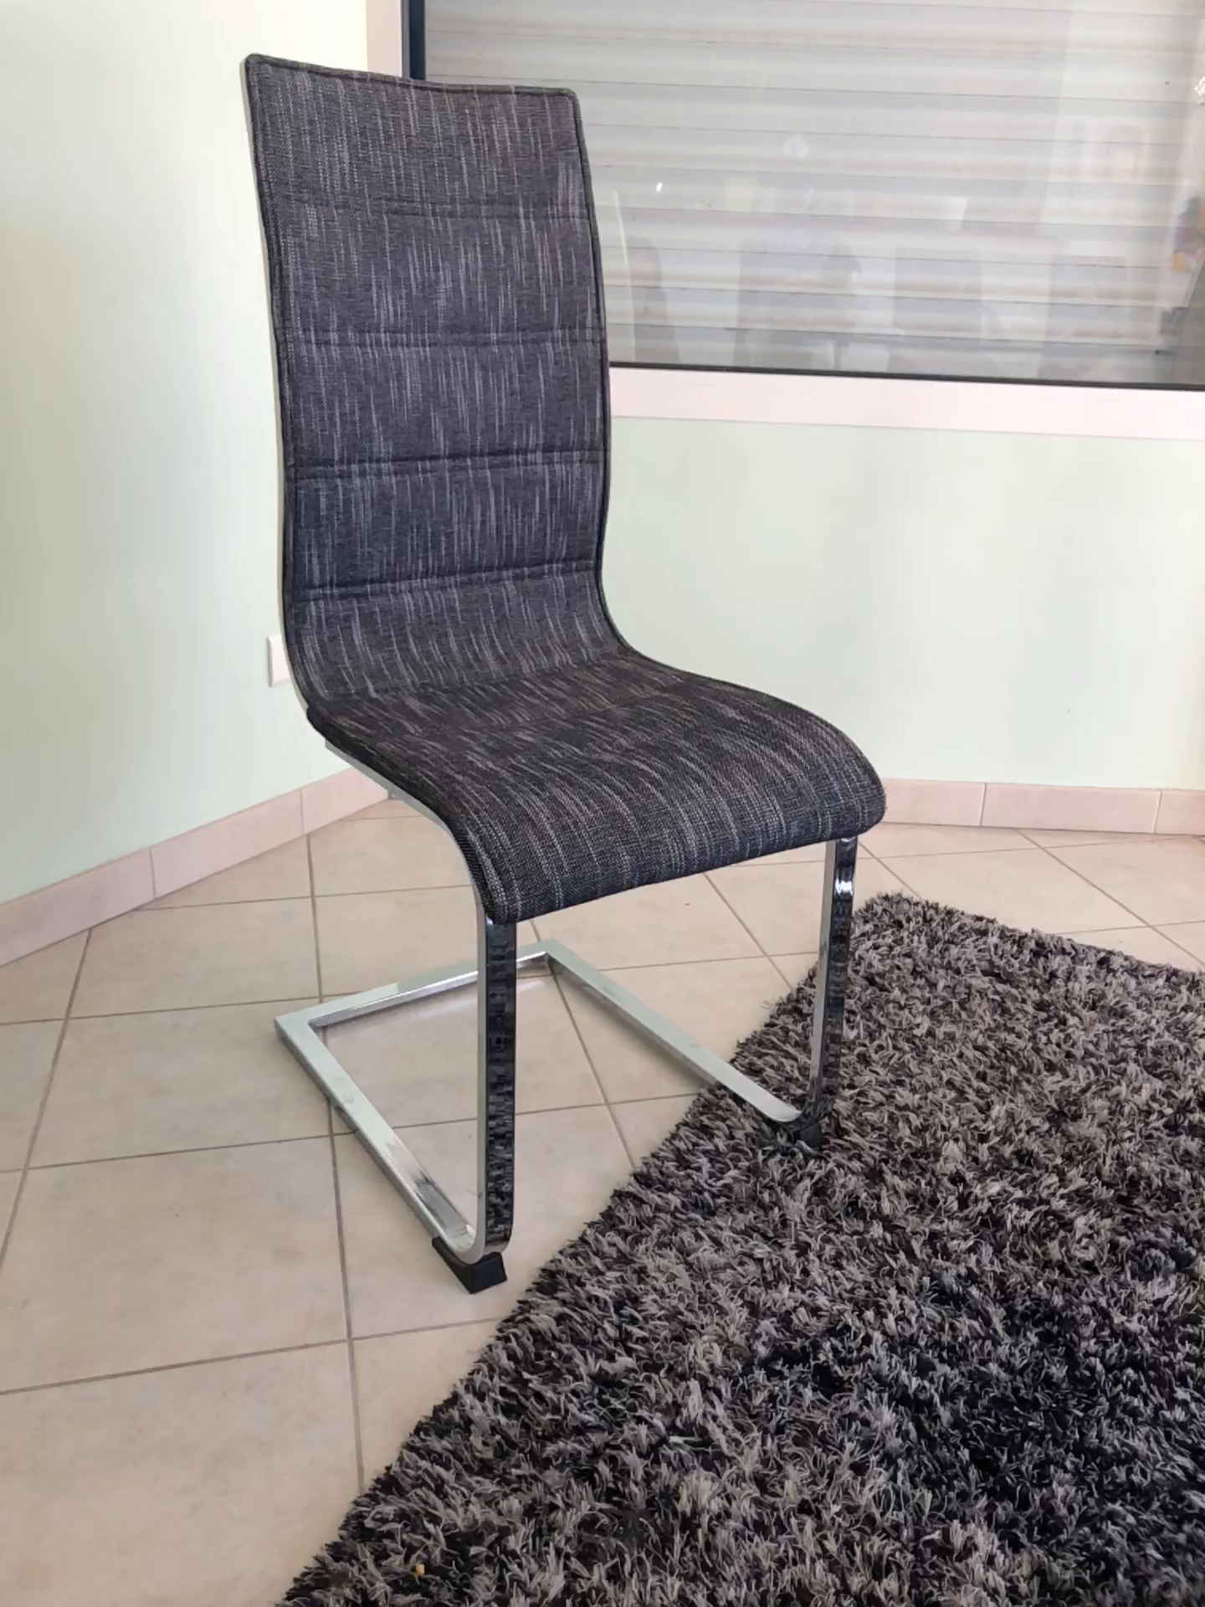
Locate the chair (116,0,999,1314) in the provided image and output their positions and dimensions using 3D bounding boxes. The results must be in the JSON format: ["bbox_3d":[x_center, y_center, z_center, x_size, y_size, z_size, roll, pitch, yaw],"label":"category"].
[{"bbox_3d":[-0.083,-0.174,1.260,0.502,0.965,0.581,-12,24,-33],"label":"chair"}]
